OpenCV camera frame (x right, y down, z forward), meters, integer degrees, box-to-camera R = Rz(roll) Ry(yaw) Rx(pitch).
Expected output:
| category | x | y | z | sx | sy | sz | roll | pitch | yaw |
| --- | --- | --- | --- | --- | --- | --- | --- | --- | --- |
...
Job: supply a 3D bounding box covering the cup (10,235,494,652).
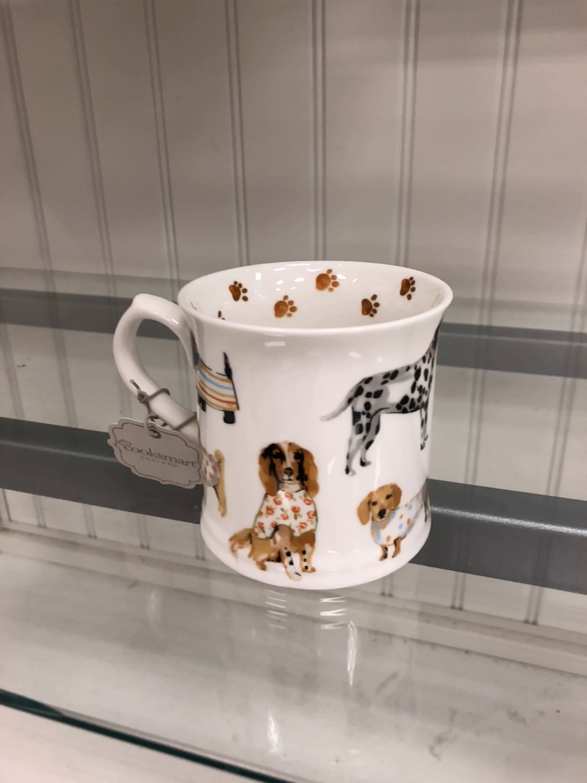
| category | x | y | z | sx | sy | sz | roll | pitch | yaw |
| --- | --- | --- | --- | --- | --- | --- | --- | --- | --- |
| cup | -0.009 | 0.002 | 0.232 | 0.125 | 0.089 | 0.101 | 11 | 26 | 27 |
